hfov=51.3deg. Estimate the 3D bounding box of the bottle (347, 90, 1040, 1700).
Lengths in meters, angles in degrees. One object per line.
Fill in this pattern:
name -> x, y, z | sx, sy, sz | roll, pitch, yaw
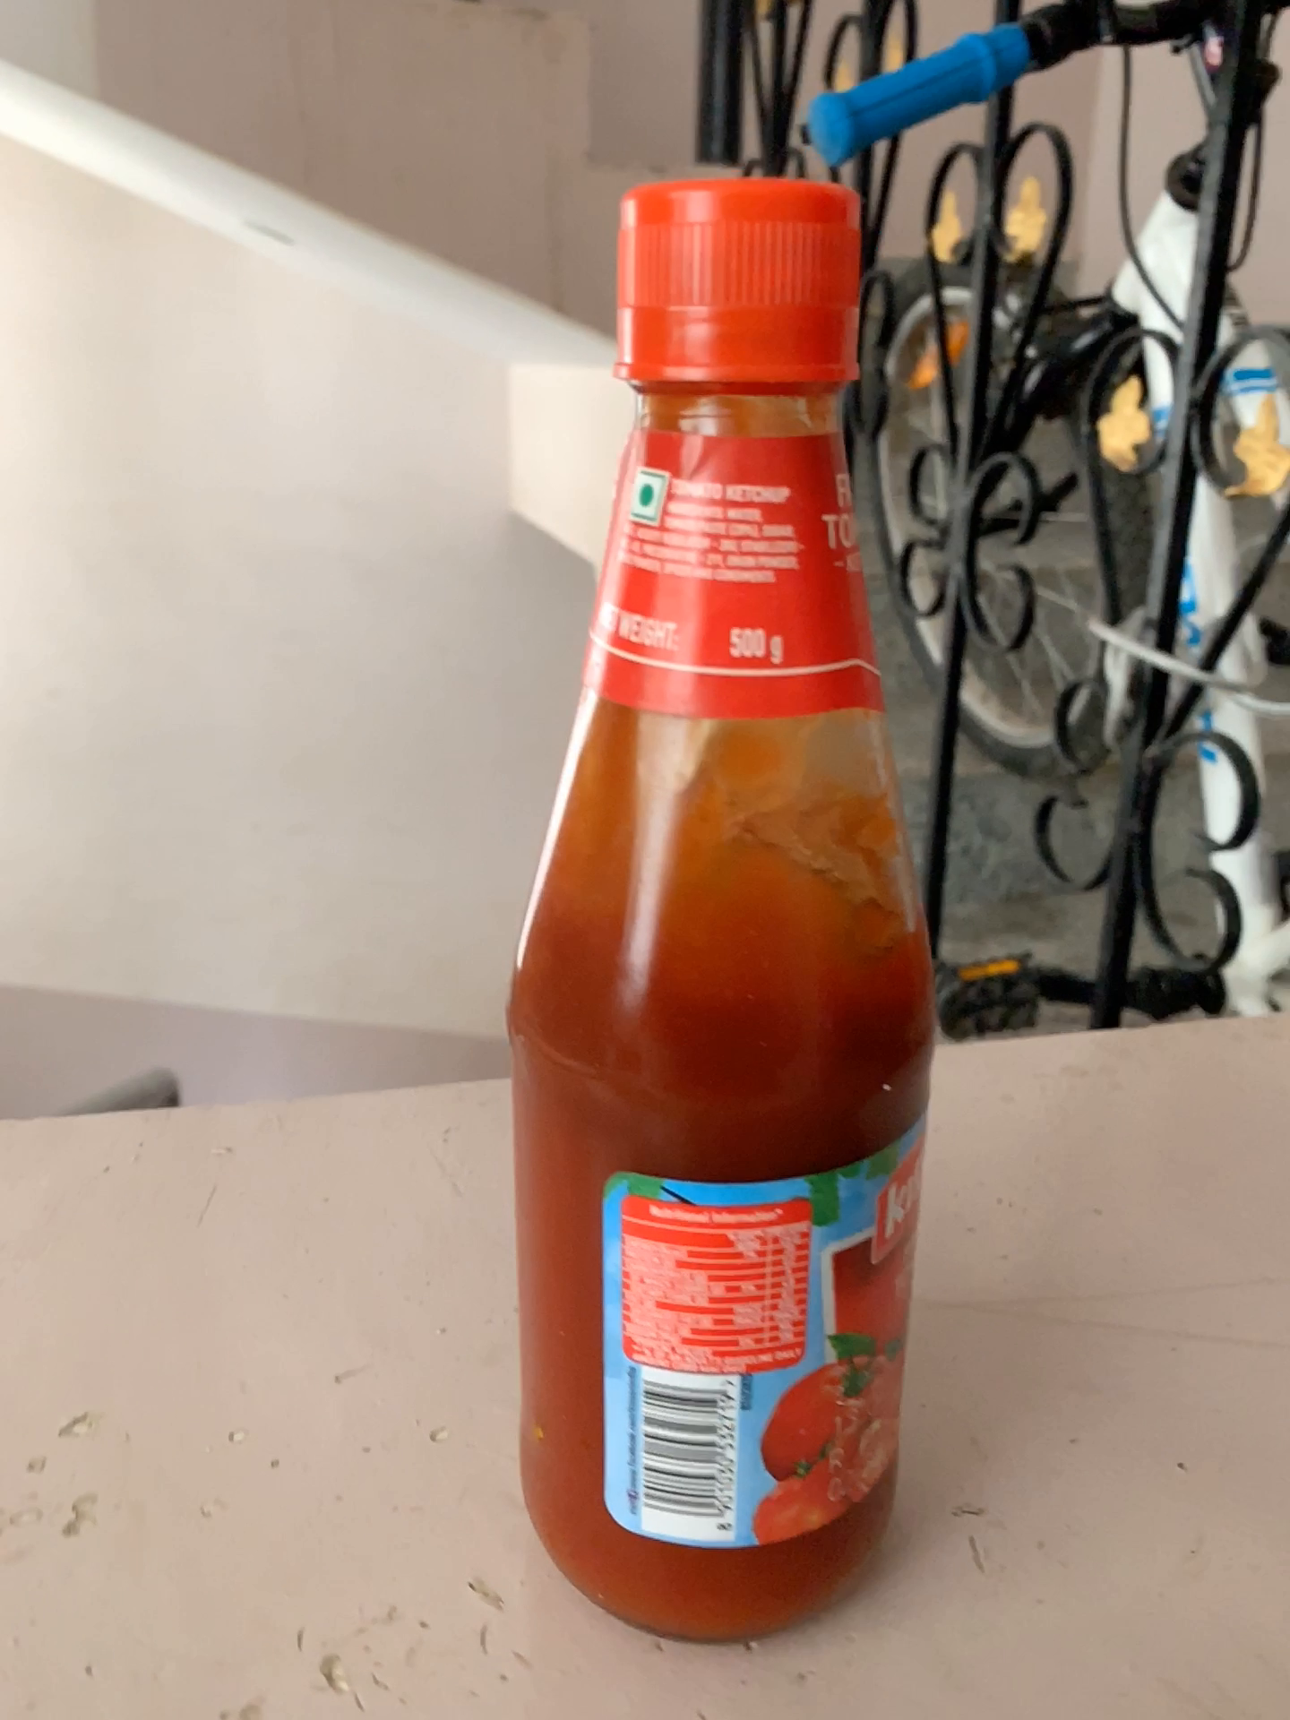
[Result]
bottle -> 0.009, 0.010, 0.214 | 0.070, 0.219, 0.070 | 1, 20, 0
